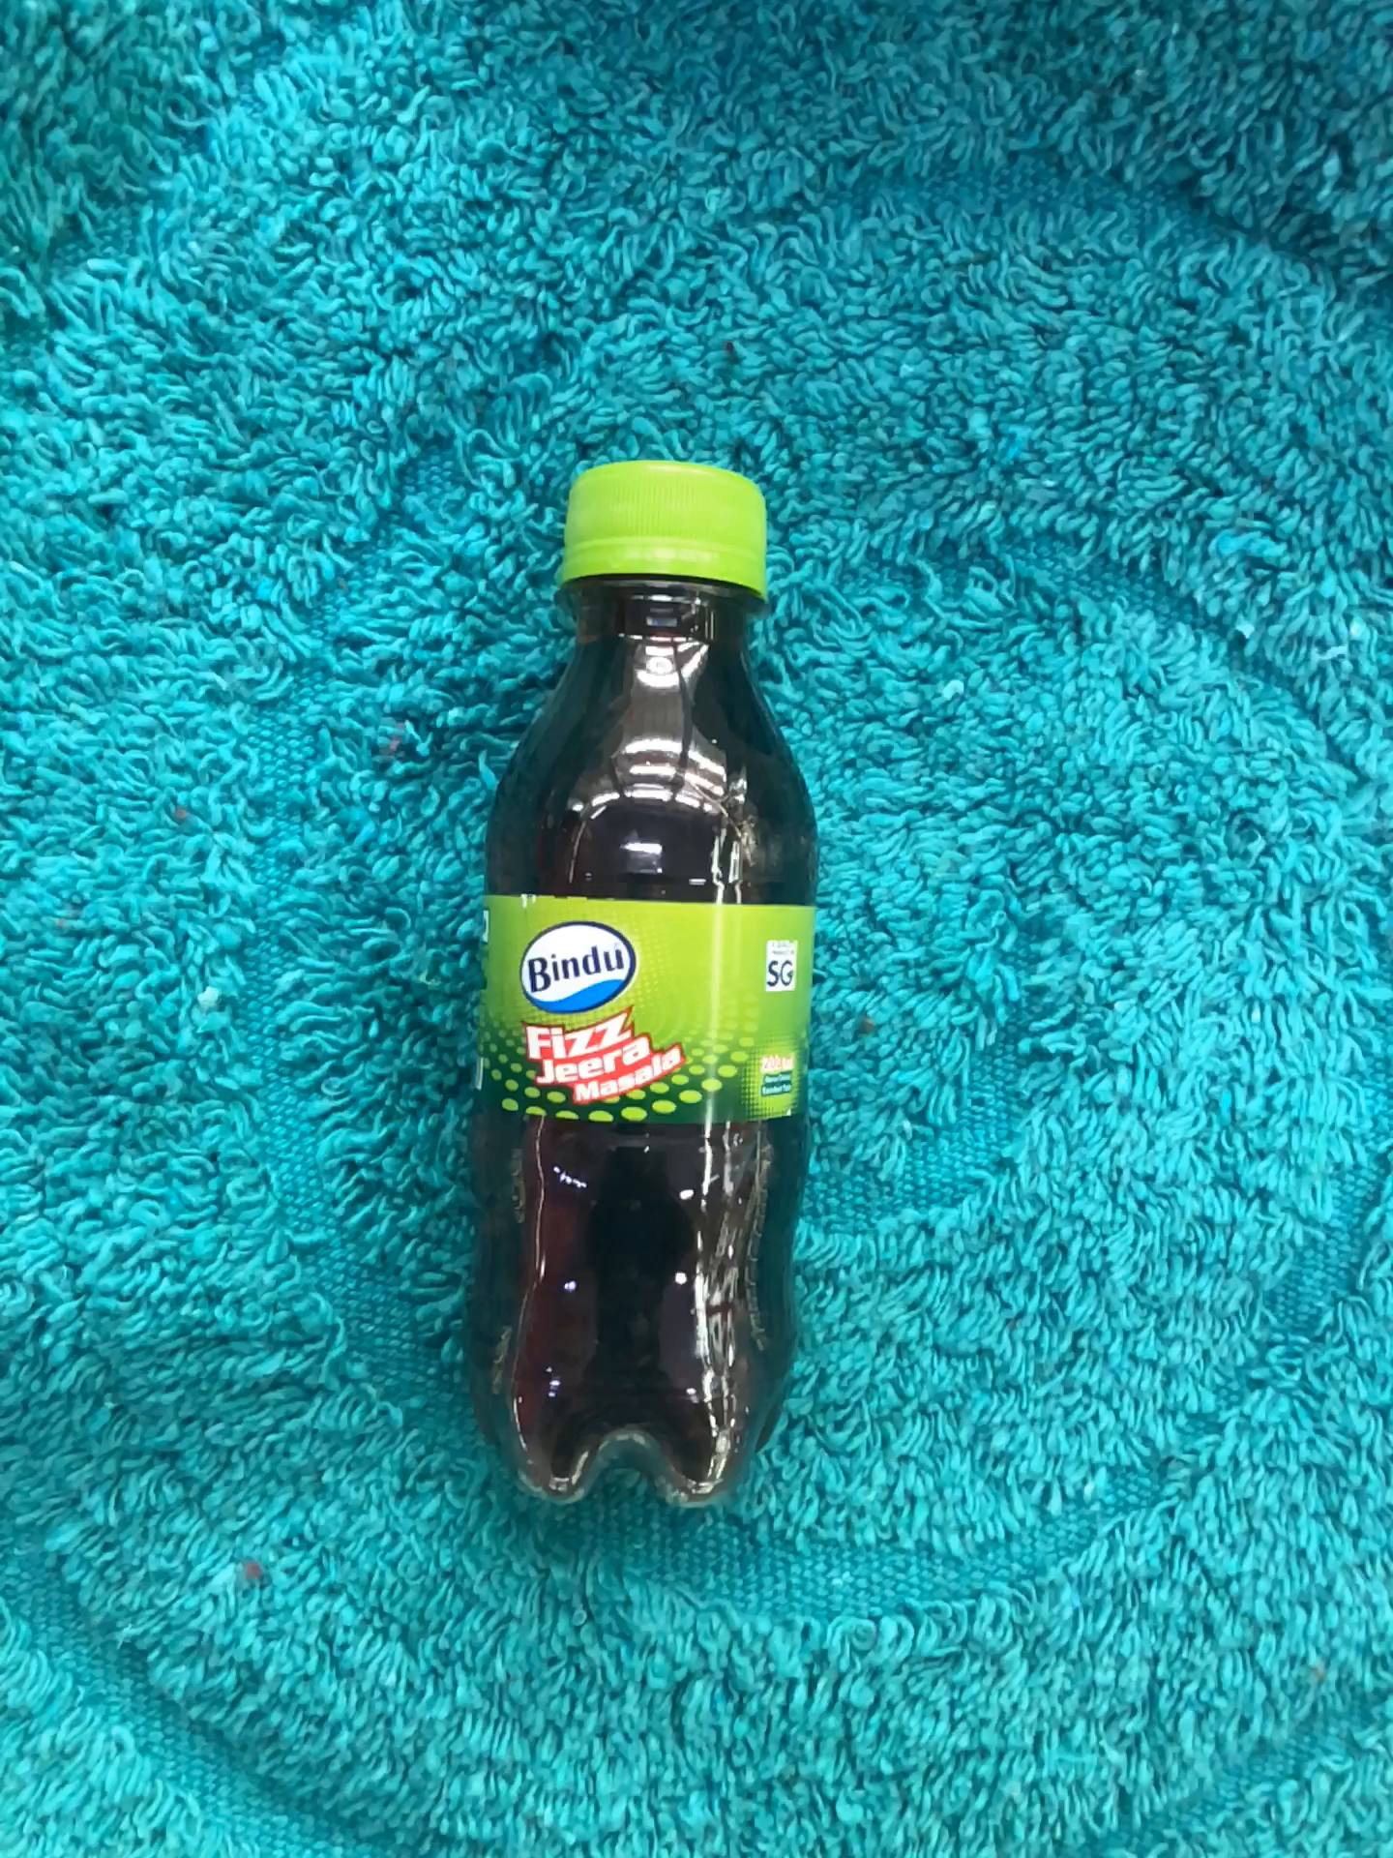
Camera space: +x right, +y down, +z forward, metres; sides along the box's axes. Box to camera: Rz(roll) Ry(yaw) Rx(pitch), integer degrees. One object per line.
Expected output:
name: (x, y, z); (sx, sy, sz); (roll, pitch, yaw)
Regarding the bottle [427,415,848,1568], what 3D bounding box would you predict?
bottle: (-0.007, 0.008, 0.228); (0.050, 0.050, 0.150); (3, 95, 5)
